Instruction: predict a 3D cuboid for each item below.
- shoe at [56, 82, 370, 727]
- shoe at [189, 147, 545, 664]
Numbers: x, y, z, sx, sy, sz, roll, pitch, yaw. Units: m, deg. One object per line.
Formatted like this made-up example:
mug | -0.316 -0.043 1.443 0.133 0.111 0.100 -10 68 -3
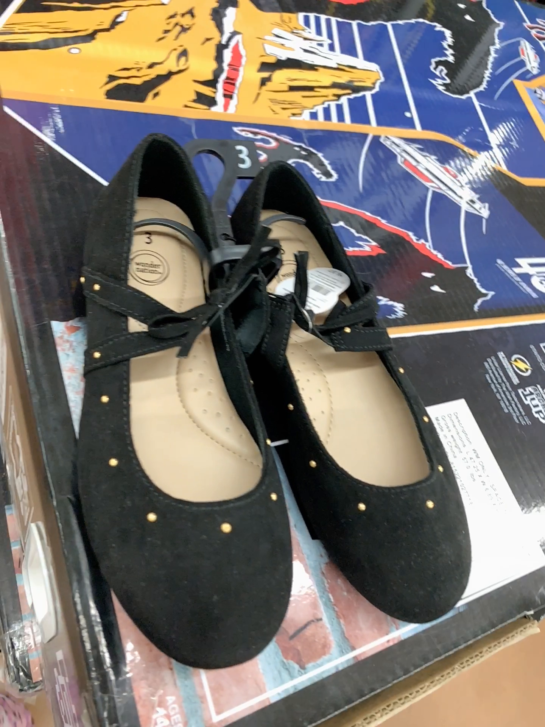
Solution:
shoe | -0.042 0.002 0.243 0.090 0.070 0.240 0 65 -24
shoe | 0.036 0.009 0.301 0.090 0.070 0.250 -7 68 -27
